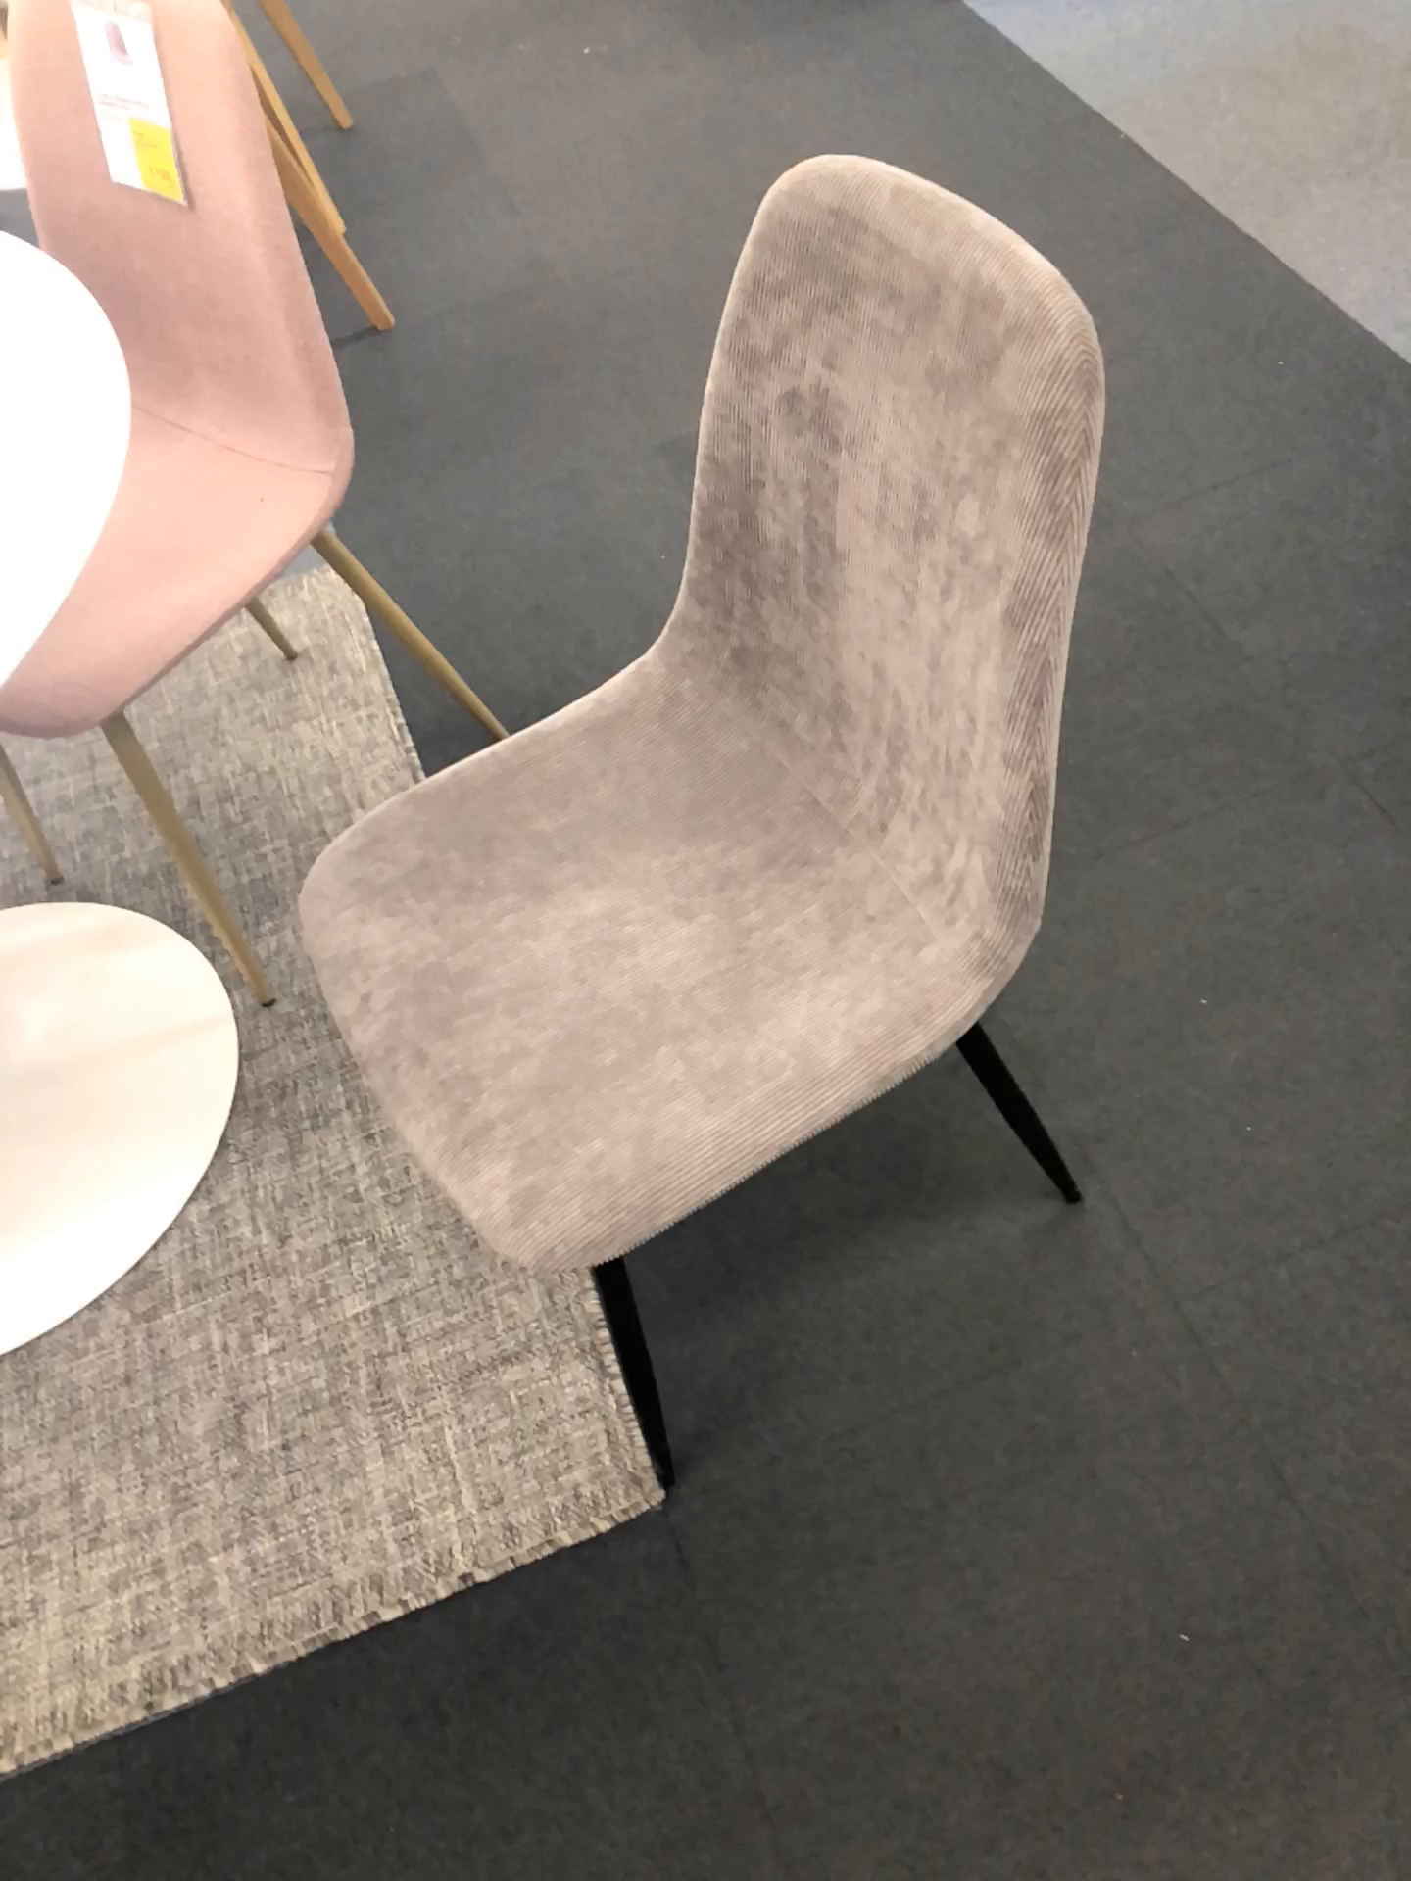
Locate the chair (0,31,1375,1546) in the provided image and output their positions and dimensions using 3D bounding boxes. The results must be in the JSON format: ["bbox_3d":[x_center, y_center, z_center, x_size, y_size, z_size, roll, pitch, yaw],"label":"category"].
[{"bbox_3d":[-0.013,-0.070,1.173,0.580,0.808,0.582,-29,54,-12],"label":"chair"}]
